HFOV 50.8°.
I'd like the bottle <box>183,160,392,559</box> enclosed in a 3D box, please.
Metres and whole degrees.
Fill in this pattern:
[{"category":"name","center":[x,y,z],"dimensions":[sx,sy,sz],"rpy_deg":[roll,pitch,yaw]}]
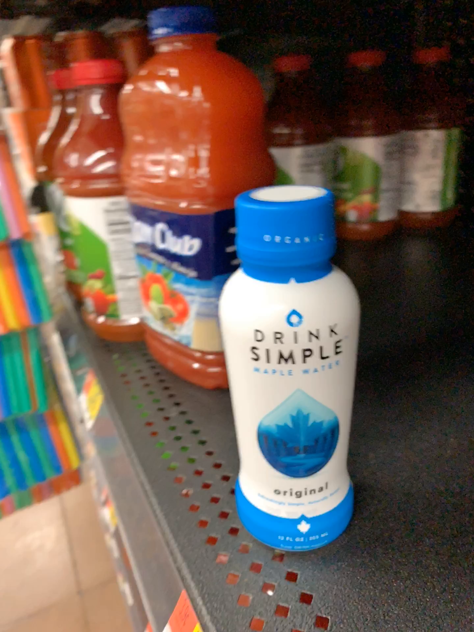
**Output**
[{"category":"bottle","center":[0.024,0.023,0.232],"dimensions":[0.070,0.169,0.066],"rpy_deg":[-5,25,2]}]
